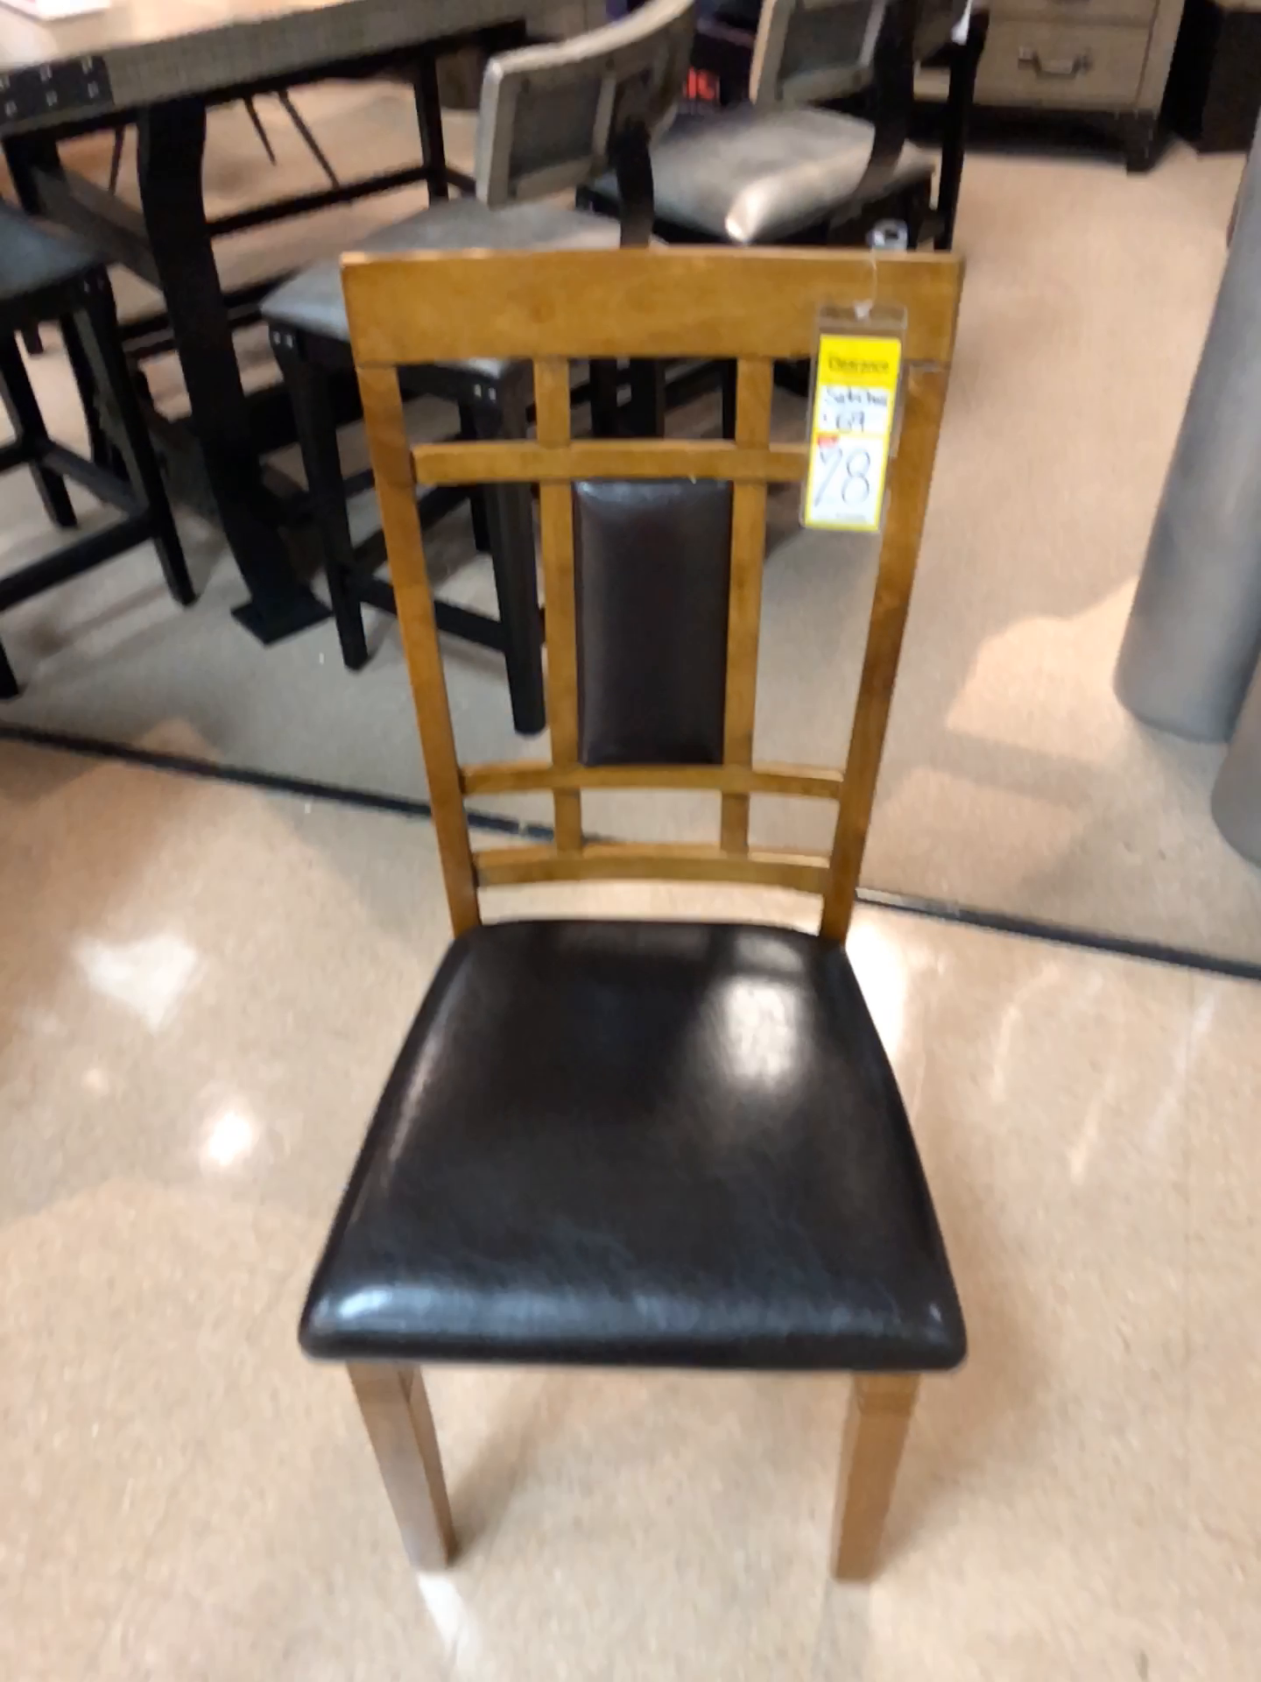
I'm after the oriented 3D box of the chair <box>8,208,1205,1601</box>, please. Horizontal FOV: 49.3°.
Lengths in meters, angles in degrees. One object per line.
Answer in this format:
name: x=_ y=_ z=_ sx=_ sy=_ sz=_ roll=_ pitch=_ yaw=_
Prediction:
chair: x=0.004 y=0.130 z=1.042 sx=0.450 sy=0.994 sz=0.503 roll=1 pitch=44 yaw=2
